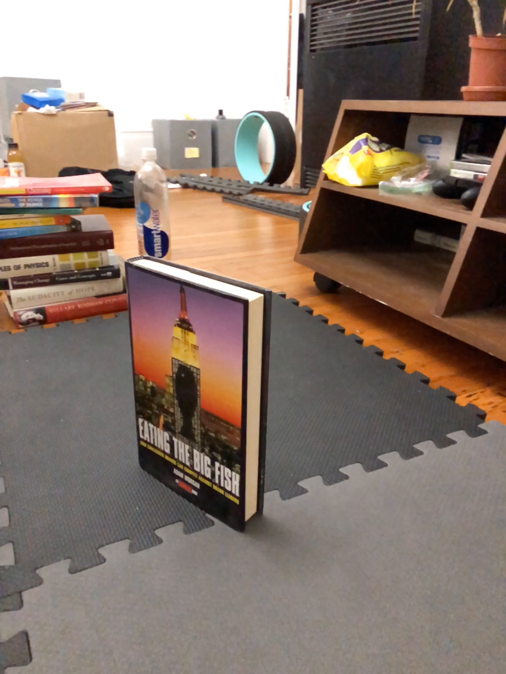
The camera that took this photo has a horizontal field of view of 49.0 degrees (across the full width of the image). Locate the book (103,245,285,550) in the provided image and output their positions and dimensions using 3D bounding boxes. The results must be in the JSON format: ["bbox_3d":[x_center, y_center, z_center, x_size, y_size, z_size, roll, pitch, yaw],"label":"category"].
[{"bbox_3d":[-0.058,0.055,0.551,0.180,0.259,0.050,18,30,35],"label":"book"}]
